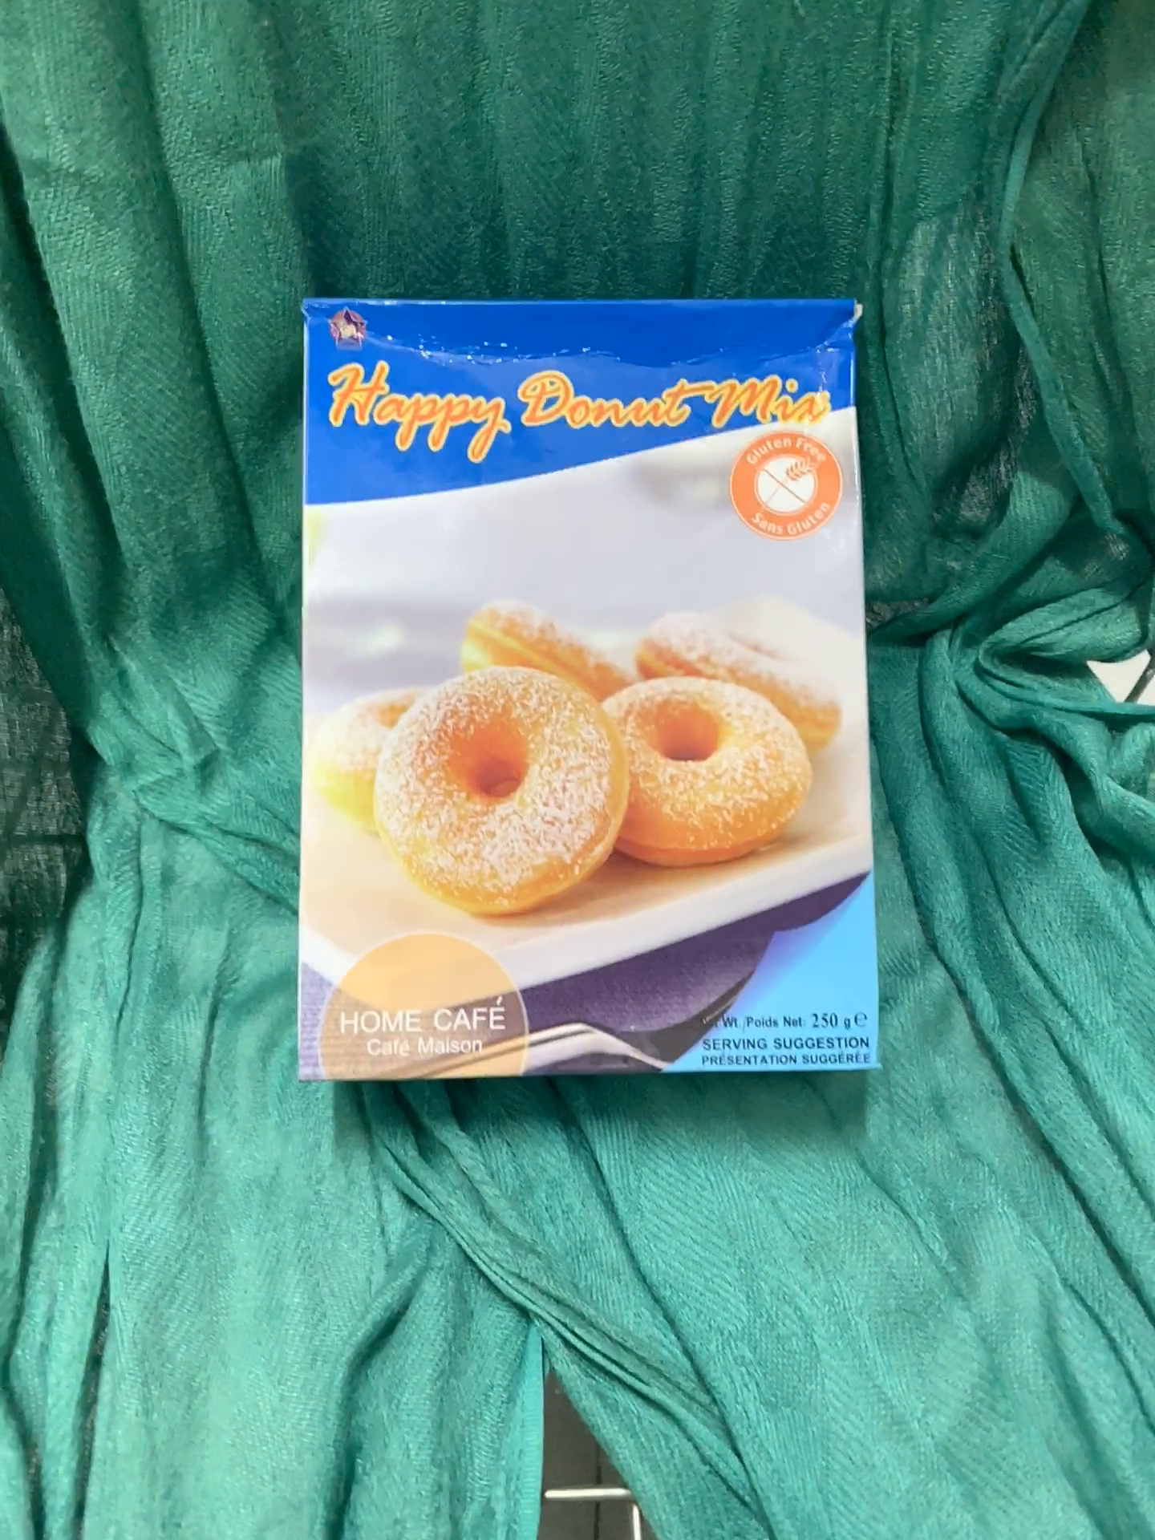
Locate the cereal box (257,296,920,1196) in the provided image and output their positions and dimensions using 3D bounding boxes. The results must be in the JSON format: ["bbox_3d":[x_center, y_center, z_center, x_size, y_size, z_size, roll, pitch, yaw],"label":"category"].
[{"bbox_3d":[0.000,-0.006,0.271,0.130,0.060,0.180,-1,85,-3],"label":"cereal box"}]
